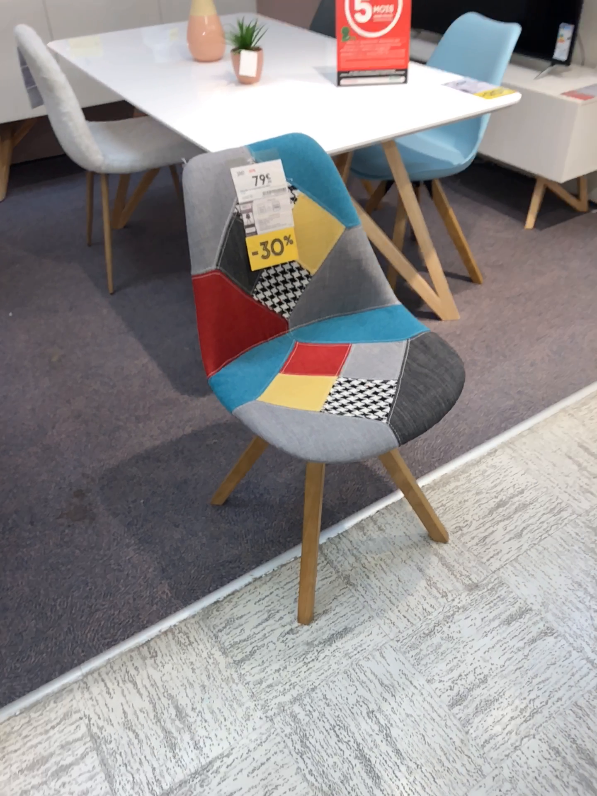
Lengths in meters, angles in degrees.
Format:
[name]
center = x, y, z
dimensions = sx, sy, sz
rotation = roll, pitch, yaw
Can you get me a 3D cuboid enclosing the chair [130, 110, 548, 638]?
[chair]
center = 0.056, -0.051, 1.323
dimensions = 0.472, 0.815, 0.511
rotation = -24, 44, -25
